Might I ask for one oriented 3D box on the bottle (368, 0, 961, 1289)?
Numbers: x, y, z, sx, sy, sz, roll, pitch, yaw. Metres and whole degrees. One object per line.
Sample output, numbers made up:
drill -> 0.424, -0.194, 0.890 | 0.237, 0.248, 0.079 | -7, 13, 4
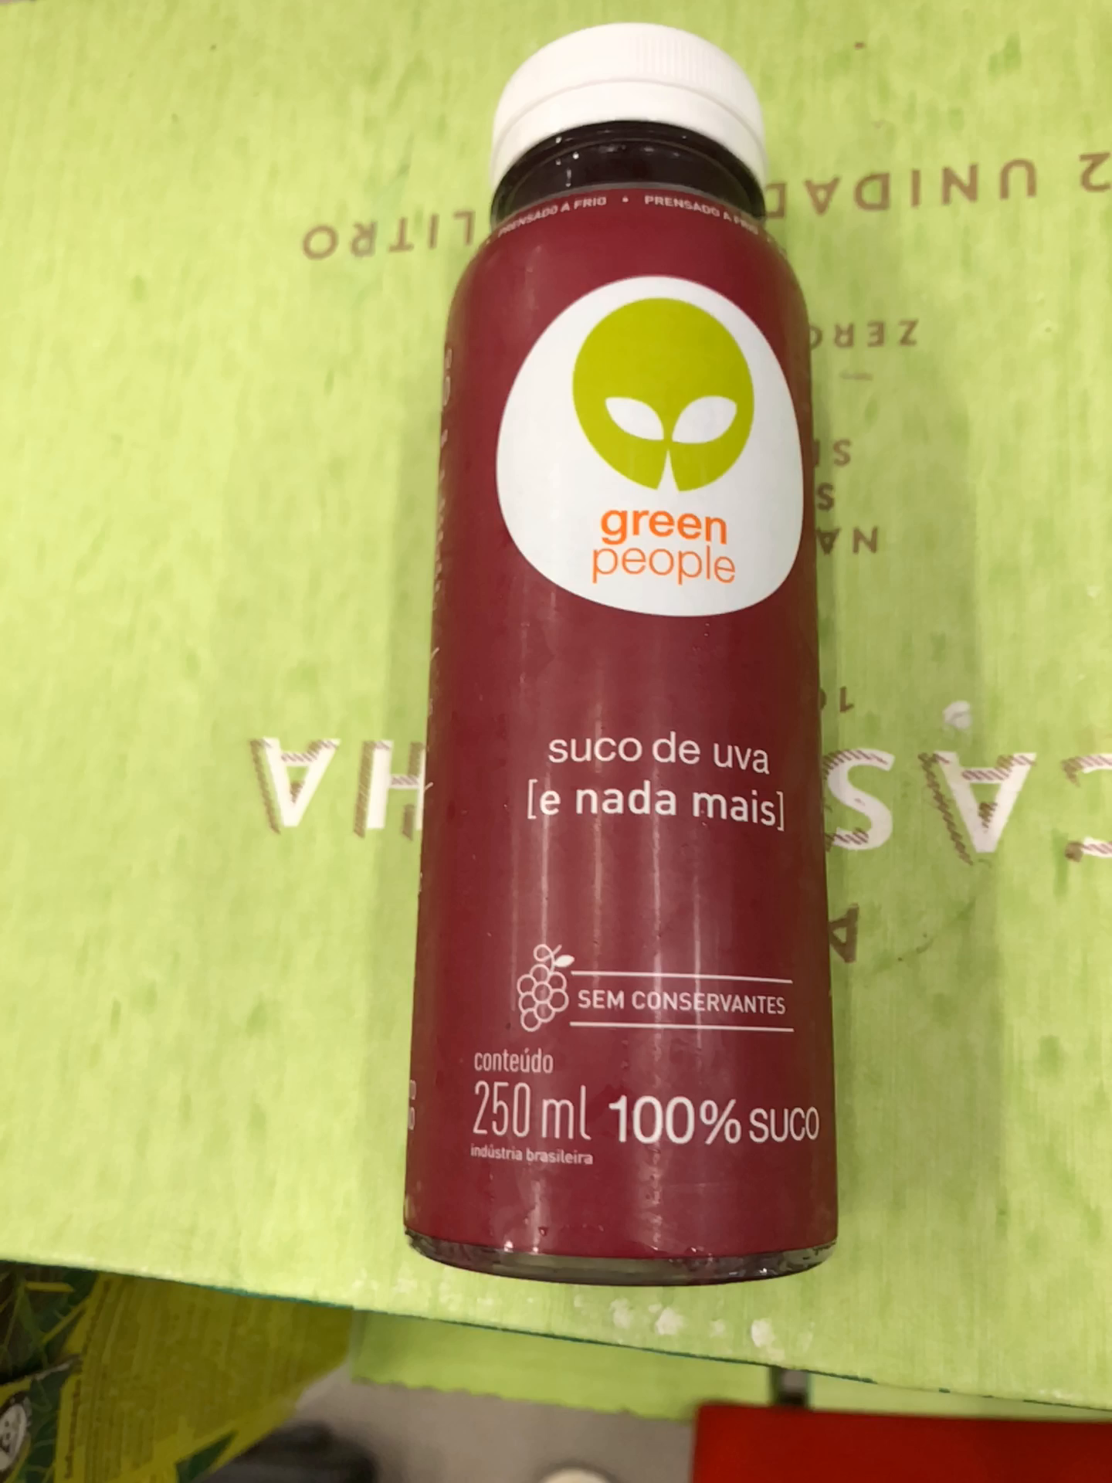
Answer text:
bottle -> 0.010, -0.022, 0.173 | 0.060, 0.060, 0.170 | 4, 78, -9
